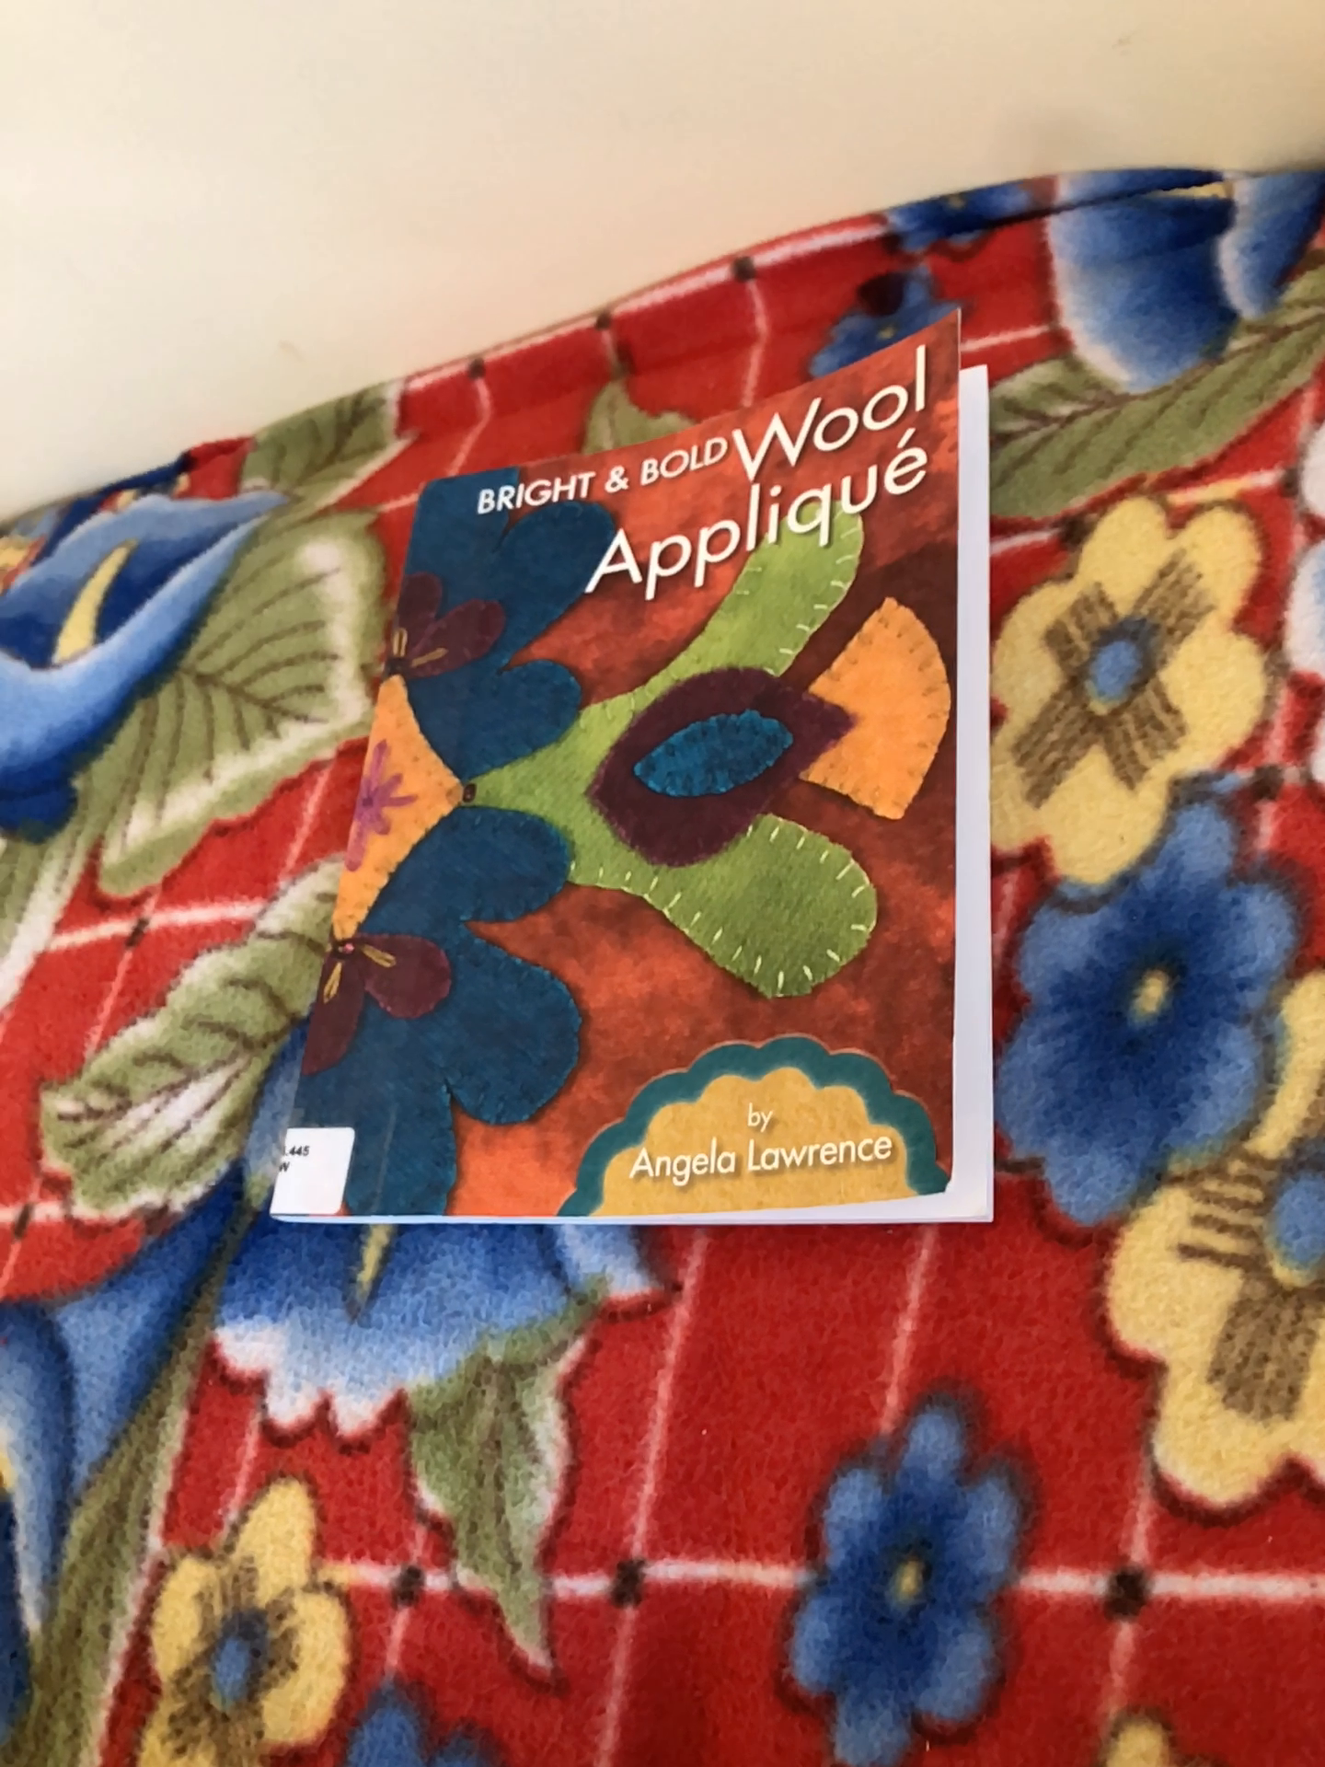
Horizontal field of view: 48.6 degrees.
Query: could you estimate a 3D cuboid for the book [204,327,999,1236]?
[{"bbox_3d":[-0.014,-0.031,0.435,0.220,0.020,0.264,-7,62,24],"label":"book"}]
